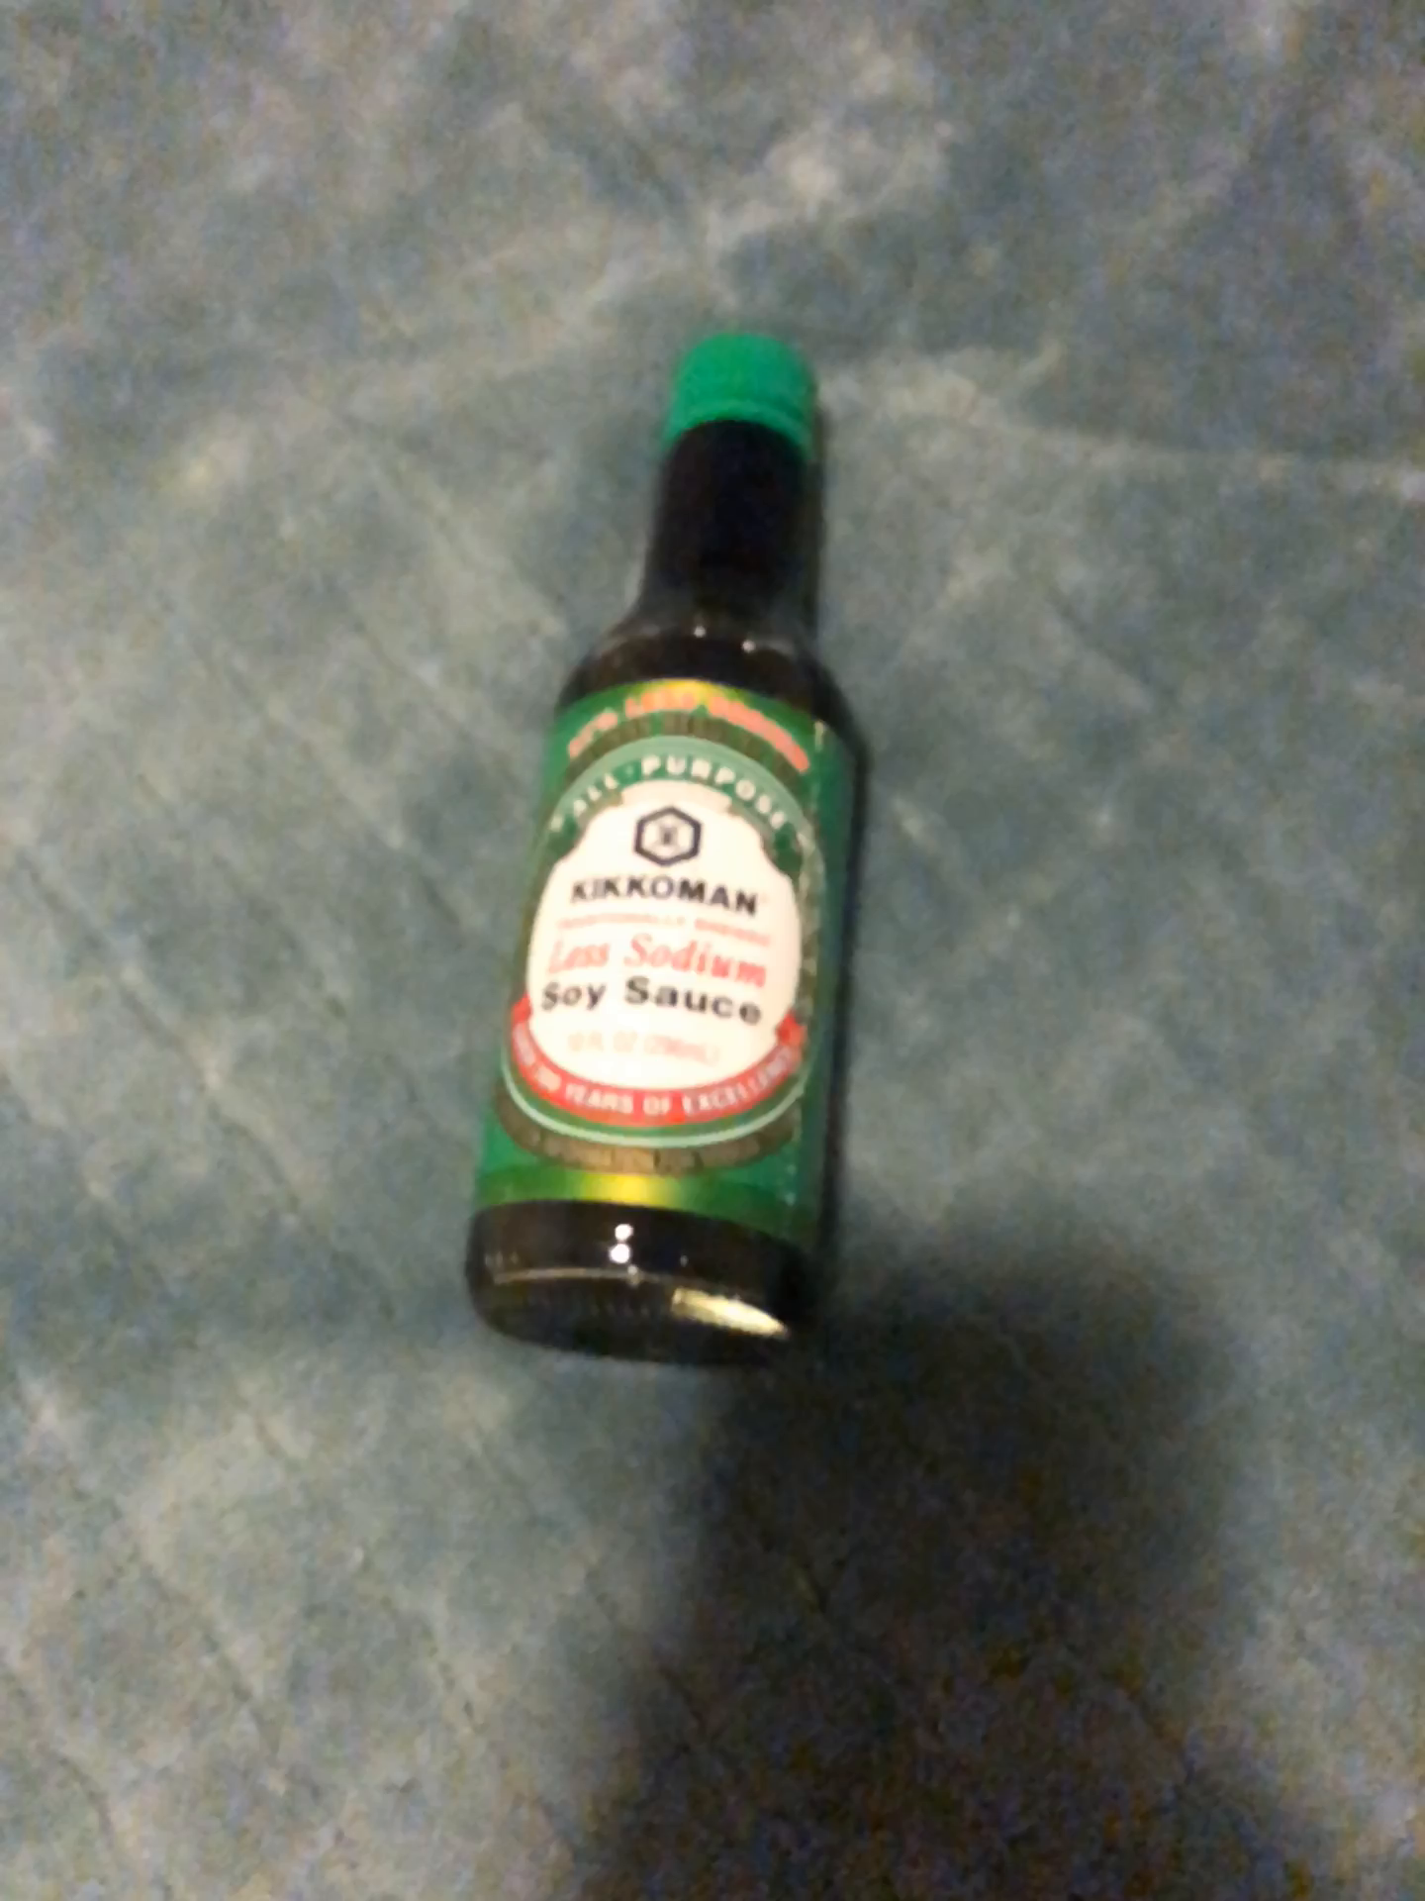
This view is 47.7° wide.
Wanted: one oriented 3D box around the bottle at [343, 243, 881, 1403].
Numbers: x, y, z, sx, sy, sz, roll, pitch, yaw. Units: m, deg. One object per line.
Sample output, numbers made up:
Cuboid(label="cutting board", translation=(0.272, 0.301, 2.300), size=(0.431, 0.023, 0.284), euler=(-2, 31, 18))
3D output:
Cuboid(label="bottle", translation=(-0.010, -0.030, 0.303), size=(0.070, 0.060, 0.211), euler=(4, 66, 3))
